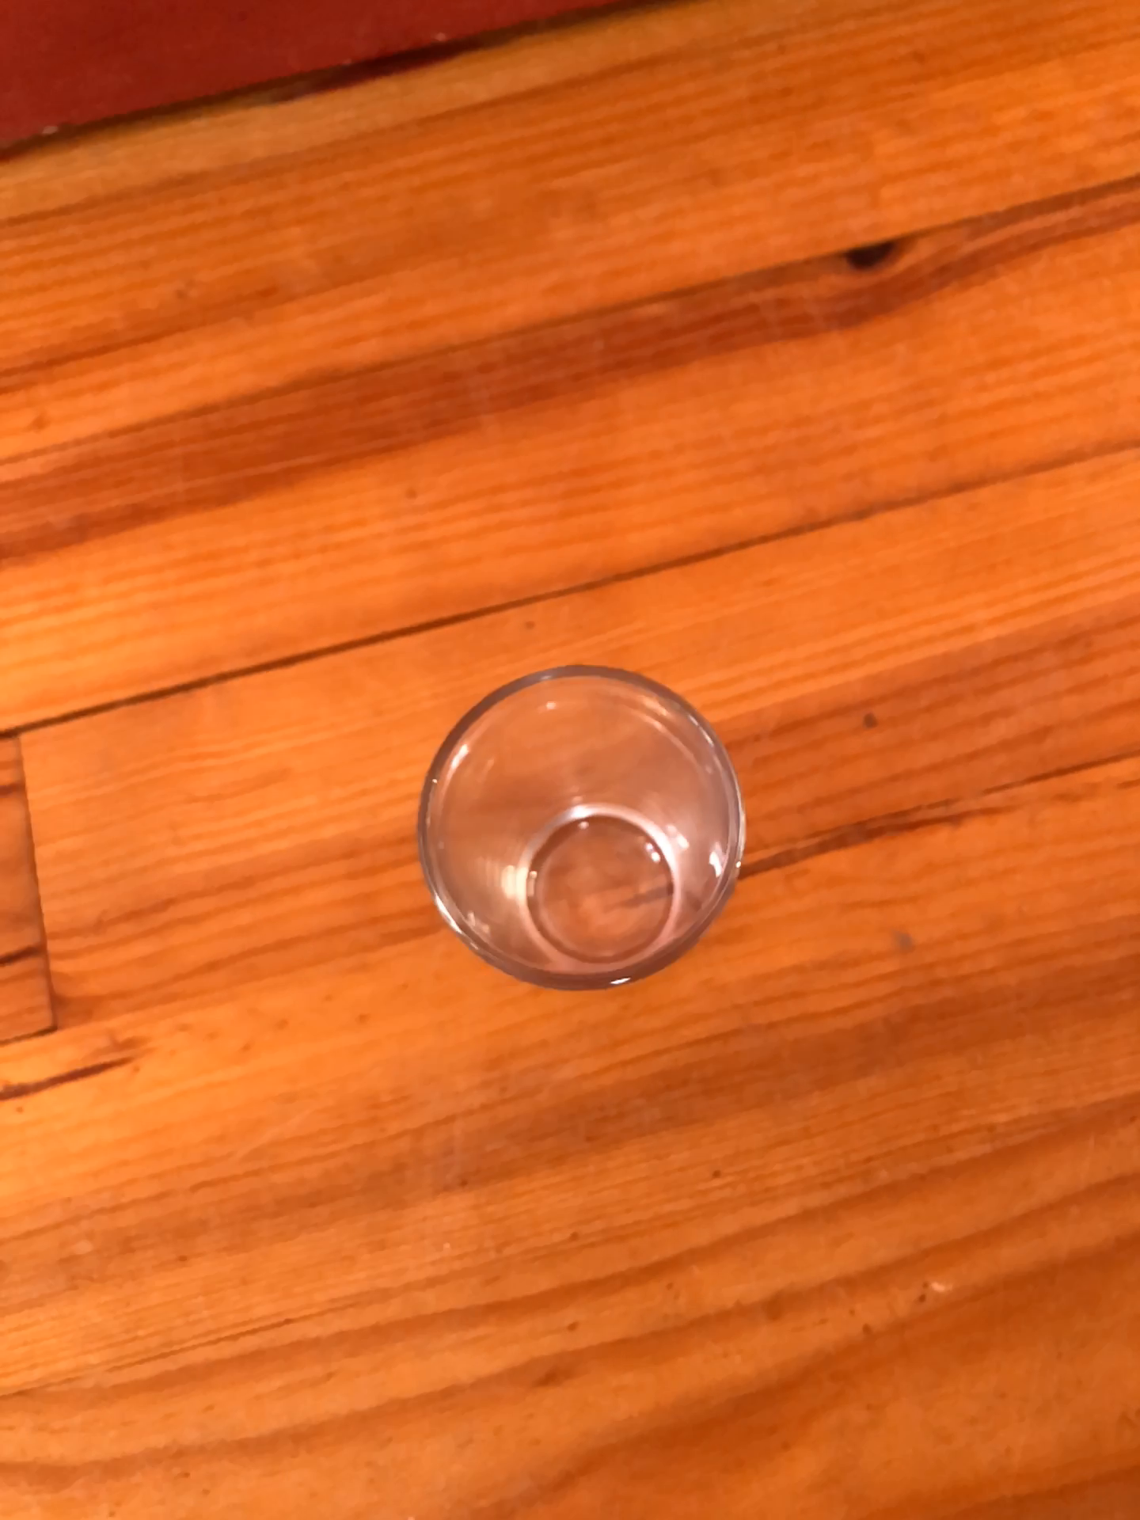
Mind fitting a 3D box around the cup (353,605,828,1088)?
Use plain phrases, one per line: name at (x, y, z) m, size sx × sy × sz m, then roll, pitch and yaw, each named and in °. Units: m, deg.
cup at (0.006, 0.021, 0.234) m, size 0.051 × 0.079 × 0.054 m, roll -1°, pitch 74°, yaw 4°
